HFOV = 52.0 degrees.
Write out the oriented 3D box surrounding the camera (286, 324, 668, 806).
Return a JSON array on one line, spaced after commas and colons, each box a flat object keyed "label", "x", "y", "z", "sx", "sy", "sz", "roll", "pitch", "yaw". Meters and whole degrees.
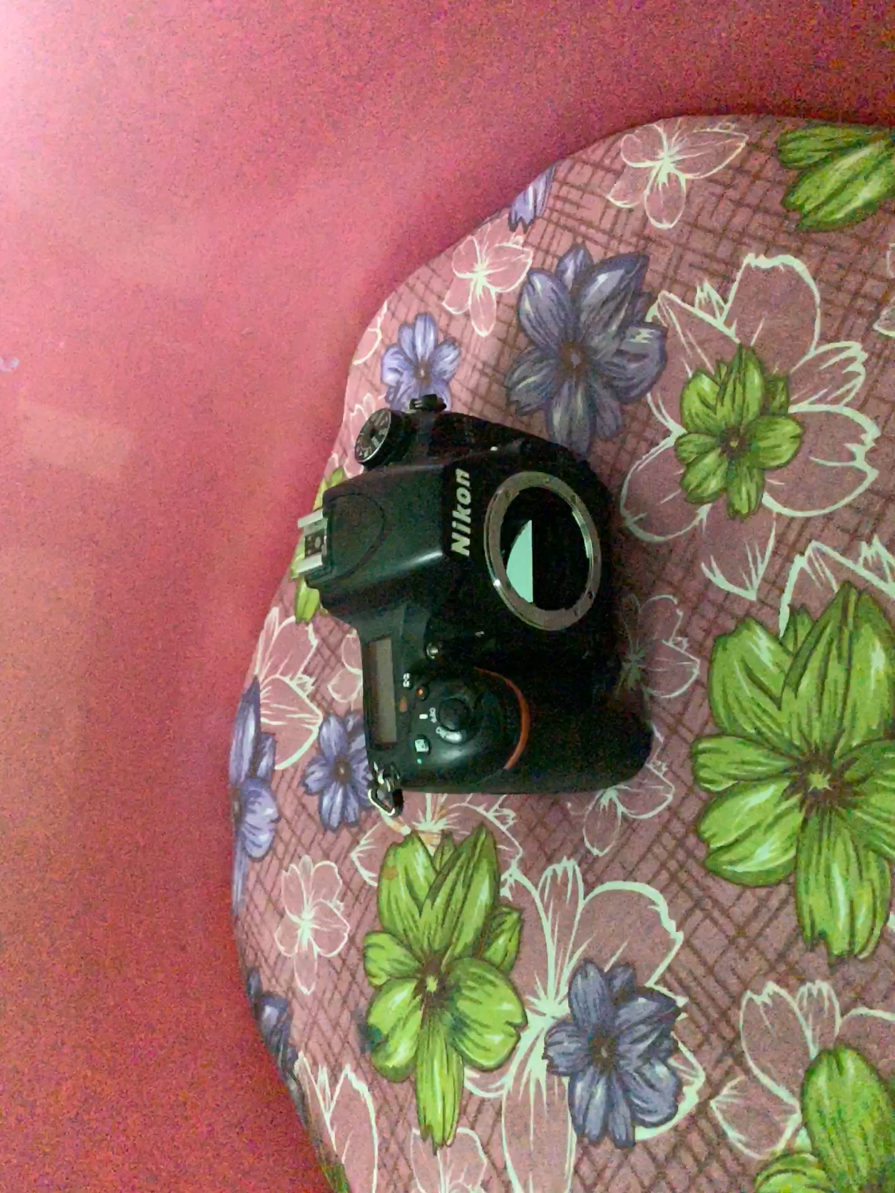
[{"label": "camera", "x": 0.008, "y": 0.000, "z": 0.323, "sx": 0.093, "sy": 0.089, "sz": 0.140, "roll": -12, "pitch": 75, "yaw": 42}]
